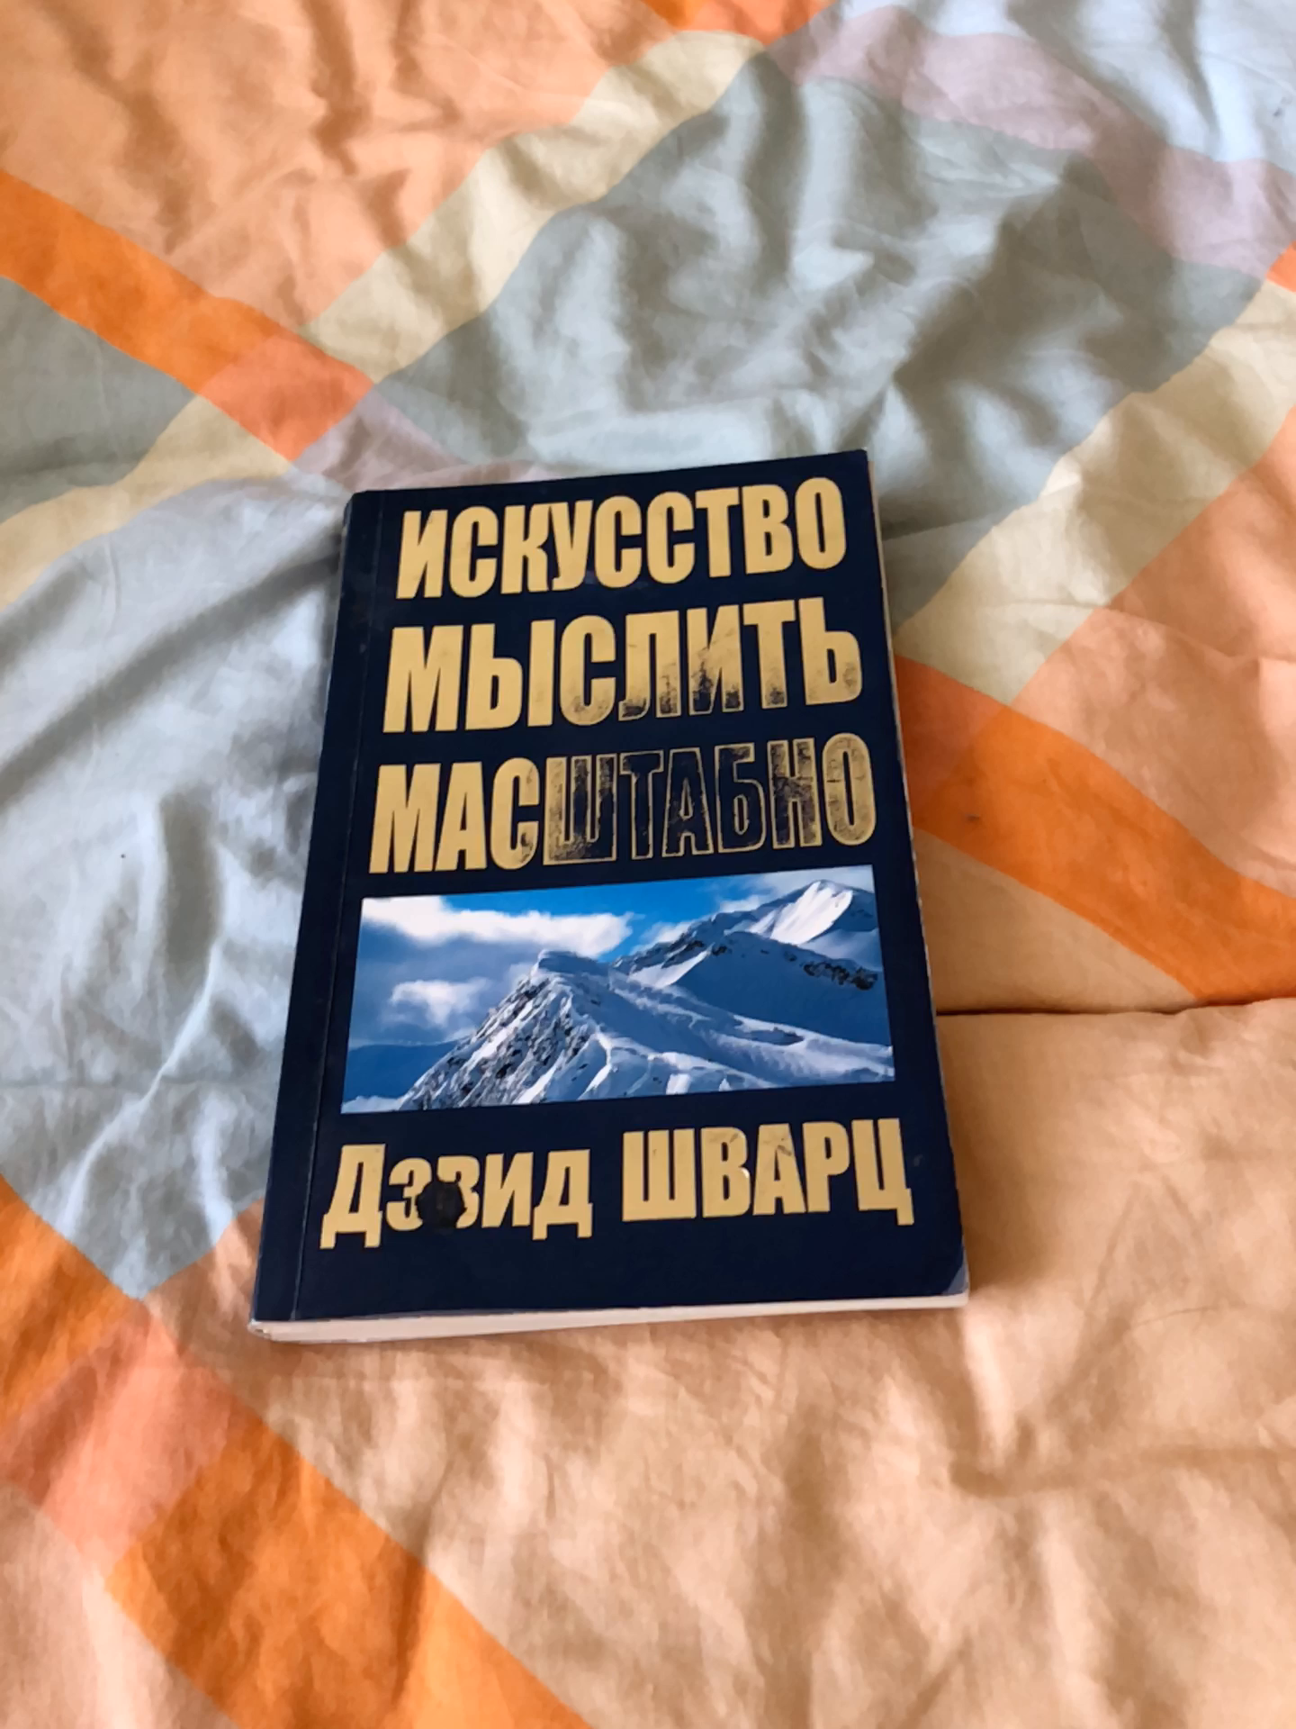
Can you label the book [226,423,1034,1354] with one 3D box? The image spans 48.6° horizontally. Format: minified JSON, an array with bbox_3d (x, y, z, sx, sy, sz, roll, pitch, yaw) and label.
[{"bbox_3d":[-0.003,-0.006,0.285,0.127,0.028,0.189,-3,59,5],"label":"book"}]
